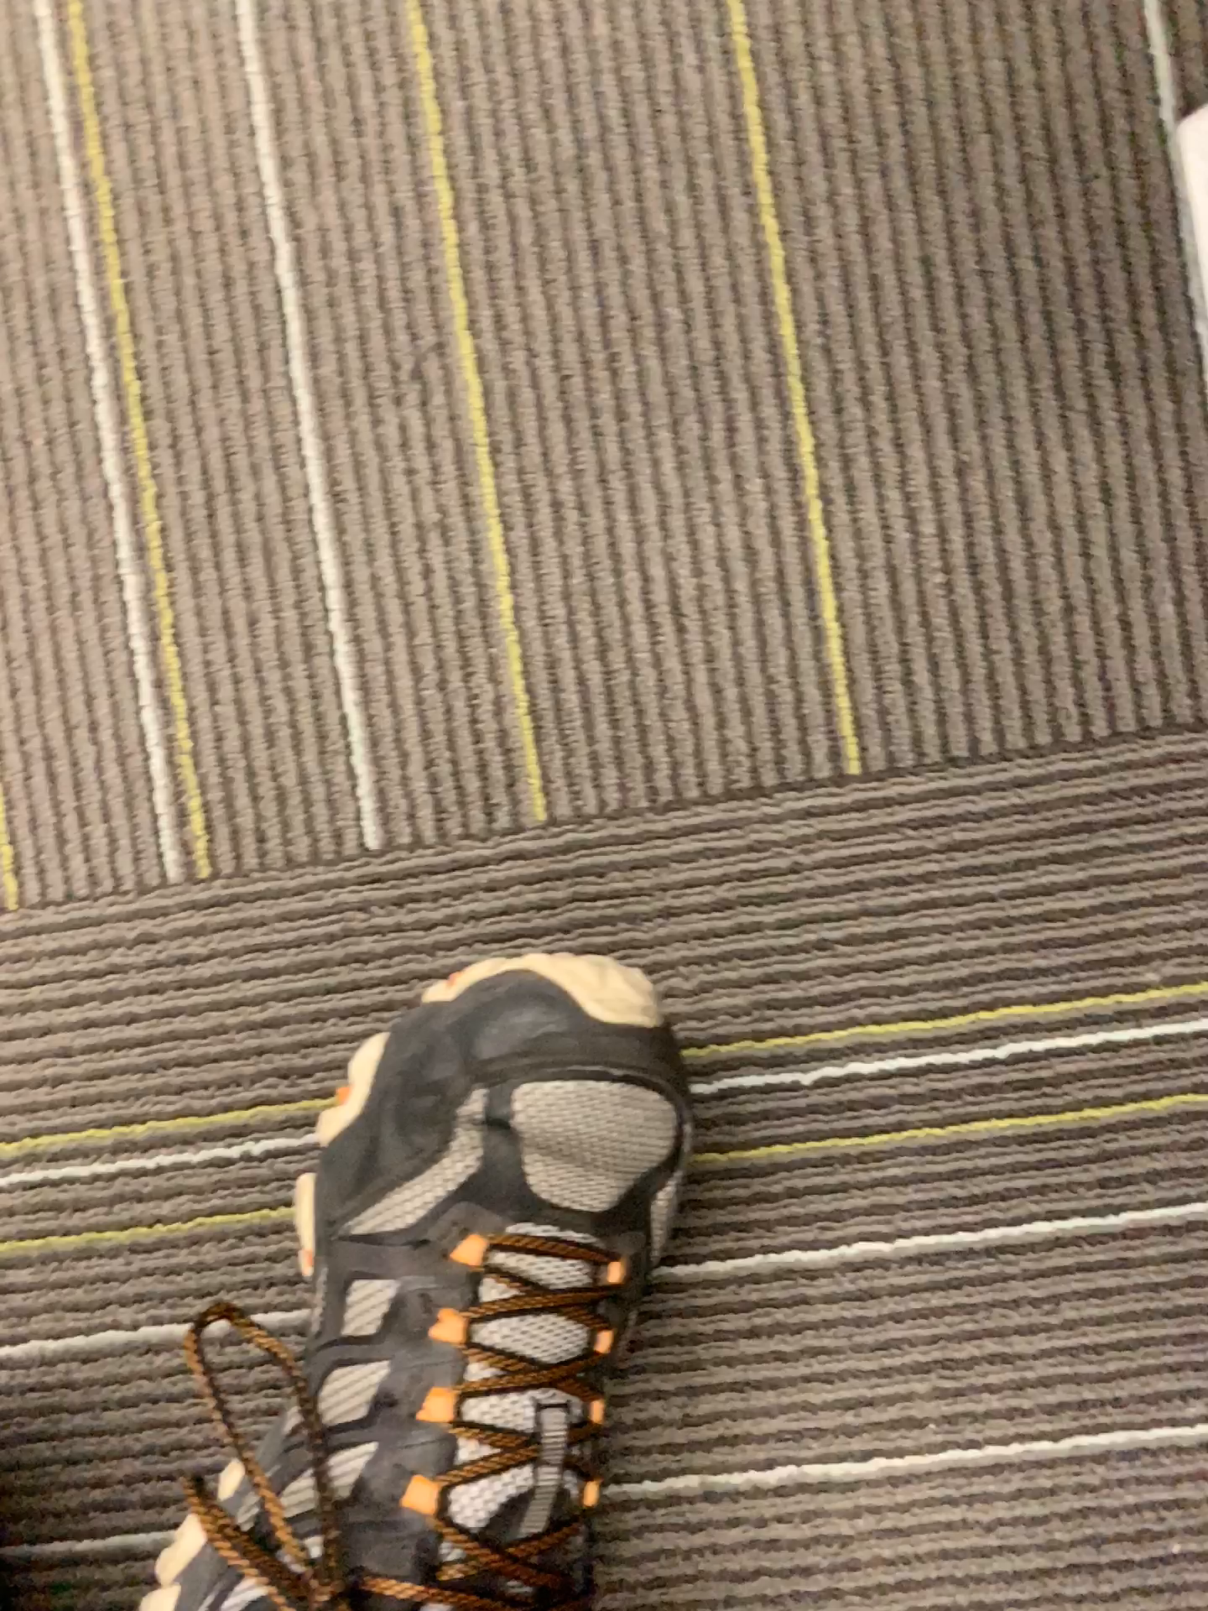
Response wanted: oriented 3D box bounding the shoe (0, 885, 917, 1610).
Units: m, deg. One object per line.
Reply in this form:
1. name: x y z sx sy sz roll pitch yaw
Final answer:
1. shoe: -0.048 0.200 0.358 0.119 0.119 0.325 27 101 39

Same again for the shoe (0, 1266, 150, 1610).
1. shoe: -0.242 0.337 0.377 0.127 0.119 0.325 -10 98 -34
